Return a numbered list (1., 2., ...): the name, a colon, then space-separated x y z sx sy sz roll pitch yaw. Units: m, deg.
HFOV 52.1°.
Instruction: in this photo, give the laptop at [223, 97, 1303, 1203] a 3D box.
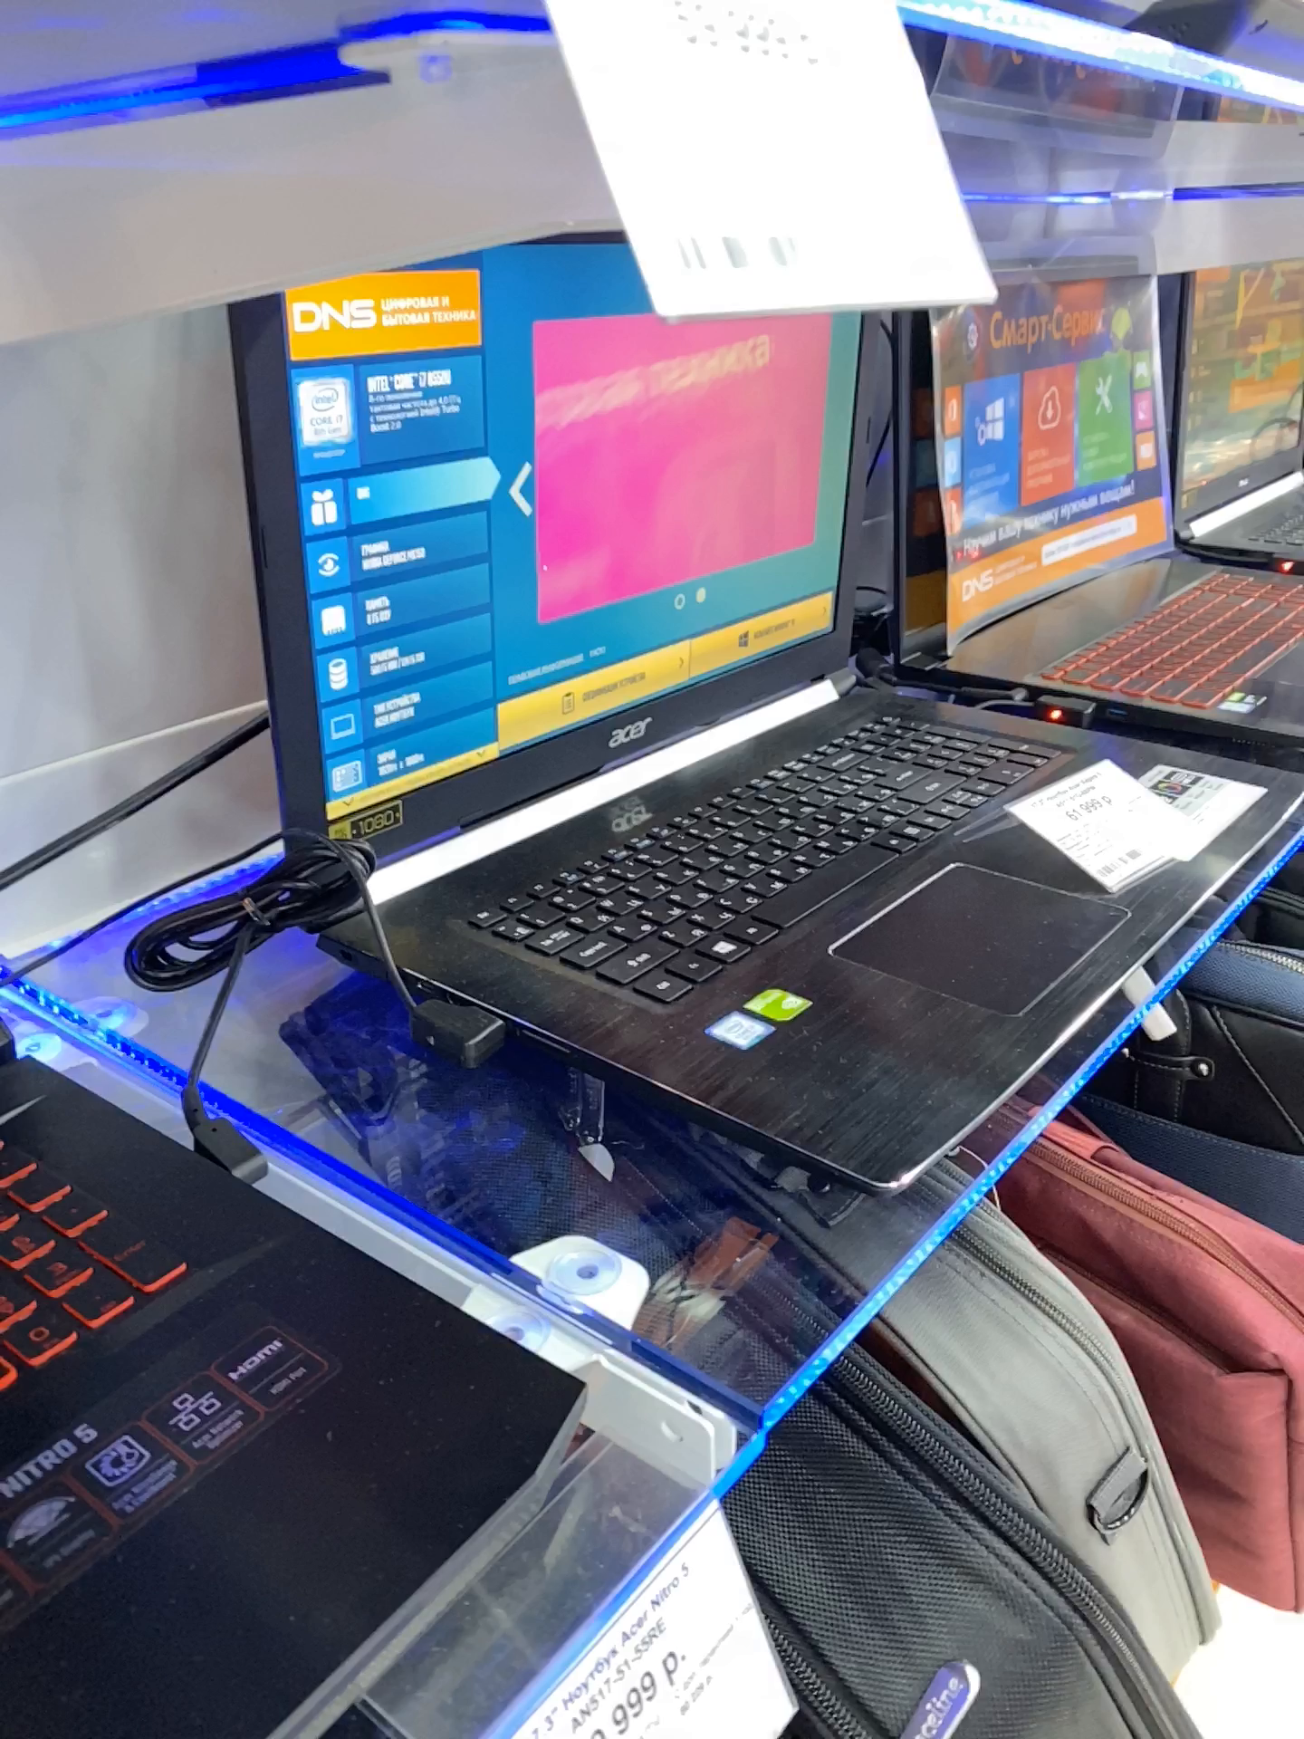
1. laptop: 0.099 -0.133 0.558 0.272 0.277 0.422 18 30 36
